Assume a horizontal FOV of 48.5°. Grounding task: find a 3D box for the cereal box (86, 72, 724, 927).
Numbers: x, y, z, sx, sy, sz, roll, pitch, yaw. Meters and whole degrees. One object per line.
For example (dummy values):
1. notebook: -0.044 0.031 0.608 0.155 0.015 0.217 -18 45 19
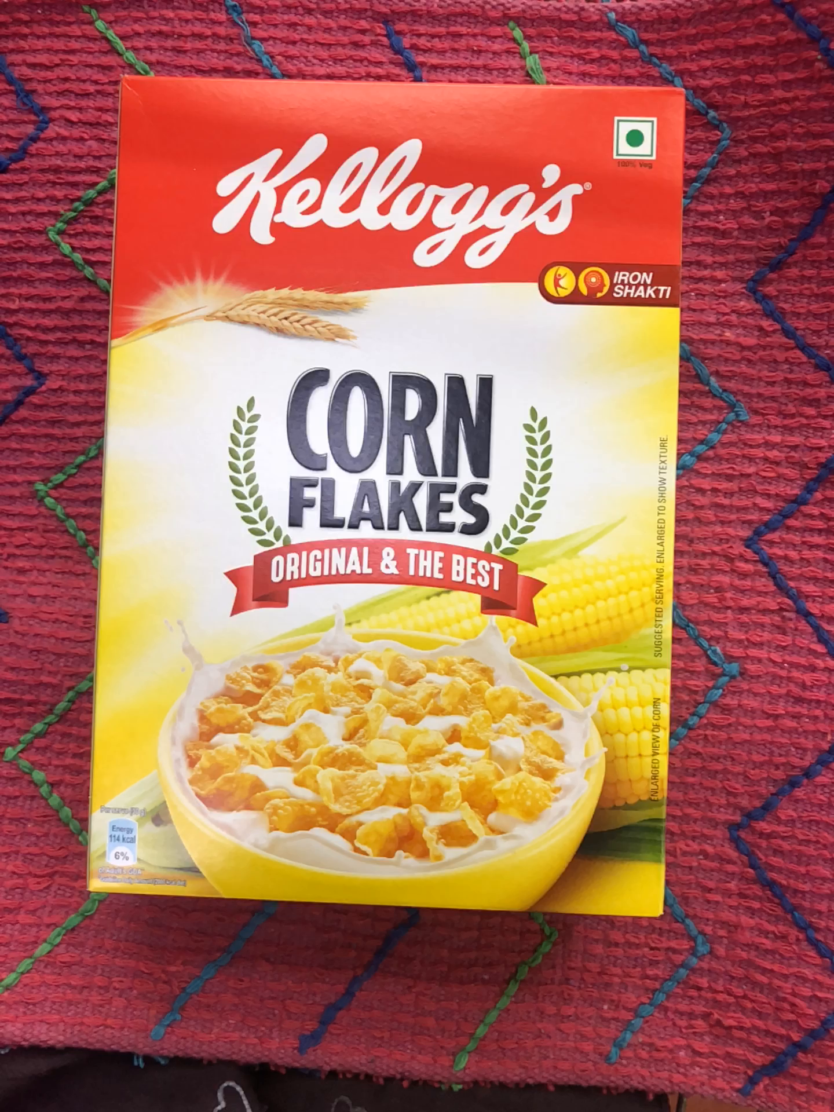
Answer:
1. cereal box: -0.003 -0.019 0.322 0.190 0.070 0.260 2 89 2
